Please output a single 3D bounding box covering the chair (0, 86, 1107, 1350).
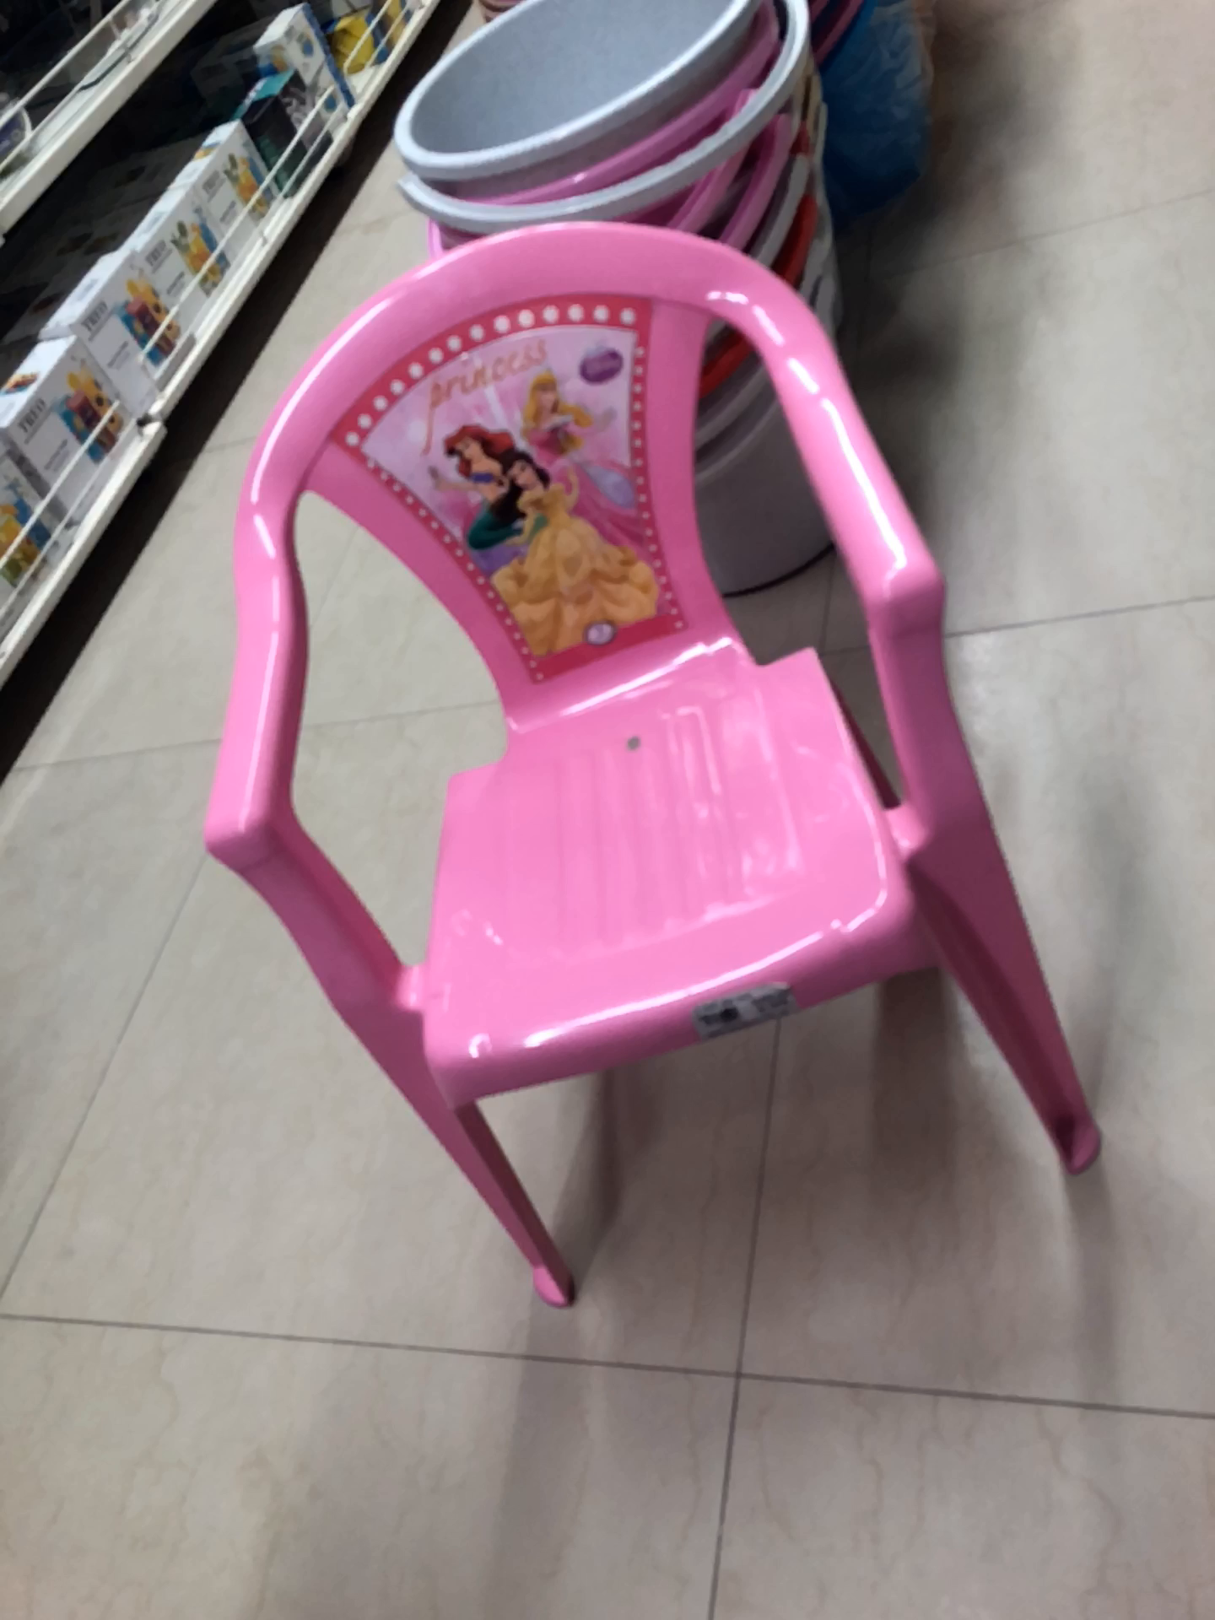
[{"bbox_3d":[-0.010,-0.015,0.711,0.370,0.477,0.352,-21,44,11],"label":"chair"}]
